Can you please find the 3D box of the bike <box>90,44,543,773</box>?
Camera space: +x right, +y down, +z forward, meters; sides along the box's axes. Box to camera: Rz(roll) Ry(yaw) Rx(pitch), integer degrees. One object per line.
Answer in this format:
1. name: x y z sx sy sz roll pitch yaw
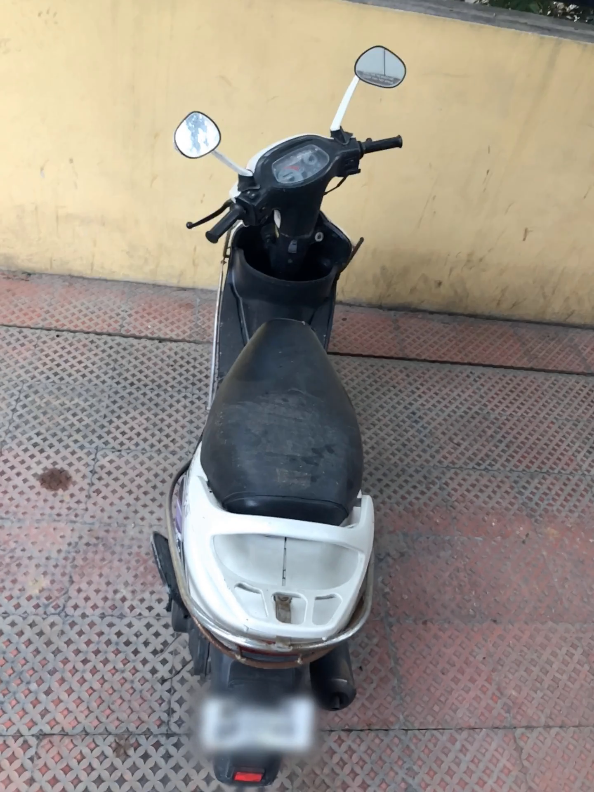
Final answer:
1. bike: -0.080 -0.024 1.724 0.599 1.081 1.481 5 45 -8
